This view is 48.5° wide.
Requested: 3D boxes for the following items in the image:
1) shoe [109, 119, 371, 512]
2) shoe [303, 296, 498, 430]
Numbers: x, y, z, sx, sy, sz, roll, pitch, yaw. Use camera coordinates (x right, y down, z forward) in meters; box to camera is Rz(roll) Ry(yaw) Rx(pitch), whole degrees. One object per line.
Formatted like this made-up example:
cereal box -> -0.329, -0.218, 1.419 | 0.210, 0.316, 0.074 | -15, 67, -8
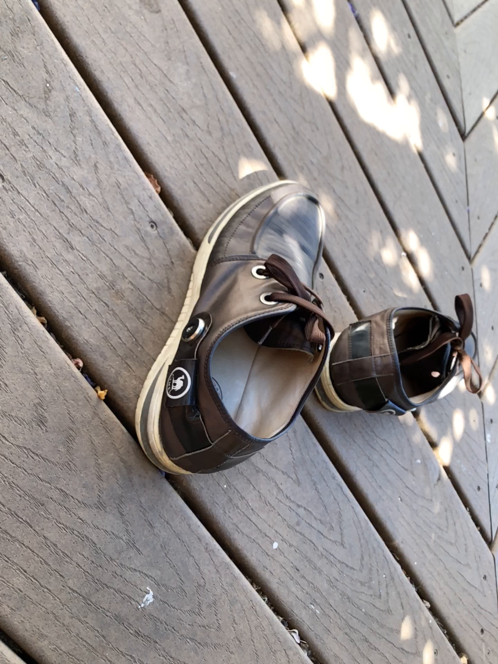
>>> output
shoe -> 0.009, -0.020, 0.440 | 0.111, 0.069, 0.286 | 38, 58, -32
shoe -> 0.196, 0.028, 0.592 | 0.287, 0.099, 0.110 | -2, 83, -43
